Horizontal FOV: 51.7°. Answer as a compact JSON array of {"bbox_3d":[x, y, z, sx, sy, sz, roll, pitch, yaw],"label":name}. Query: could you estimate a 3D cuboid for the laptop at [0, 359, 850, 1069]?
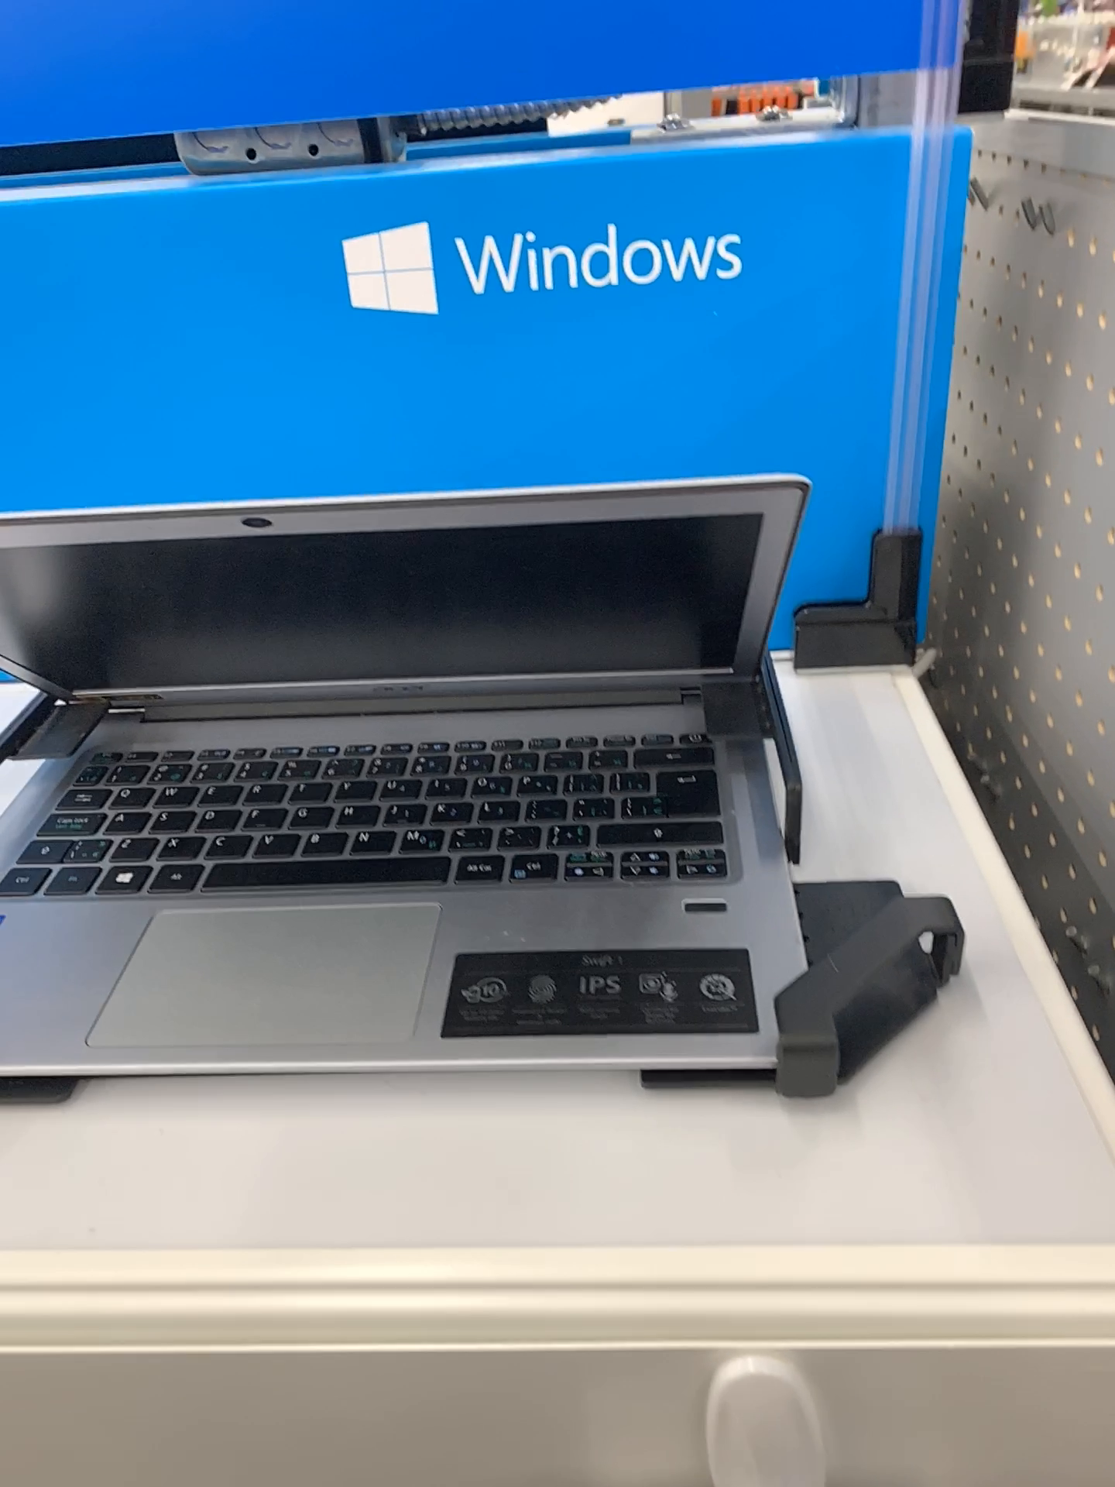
[{"bbox_3d":[-0.078,-0.020,0.388,0.307,0.140,0.198,-2,33,5],"label":"laptop"}]
